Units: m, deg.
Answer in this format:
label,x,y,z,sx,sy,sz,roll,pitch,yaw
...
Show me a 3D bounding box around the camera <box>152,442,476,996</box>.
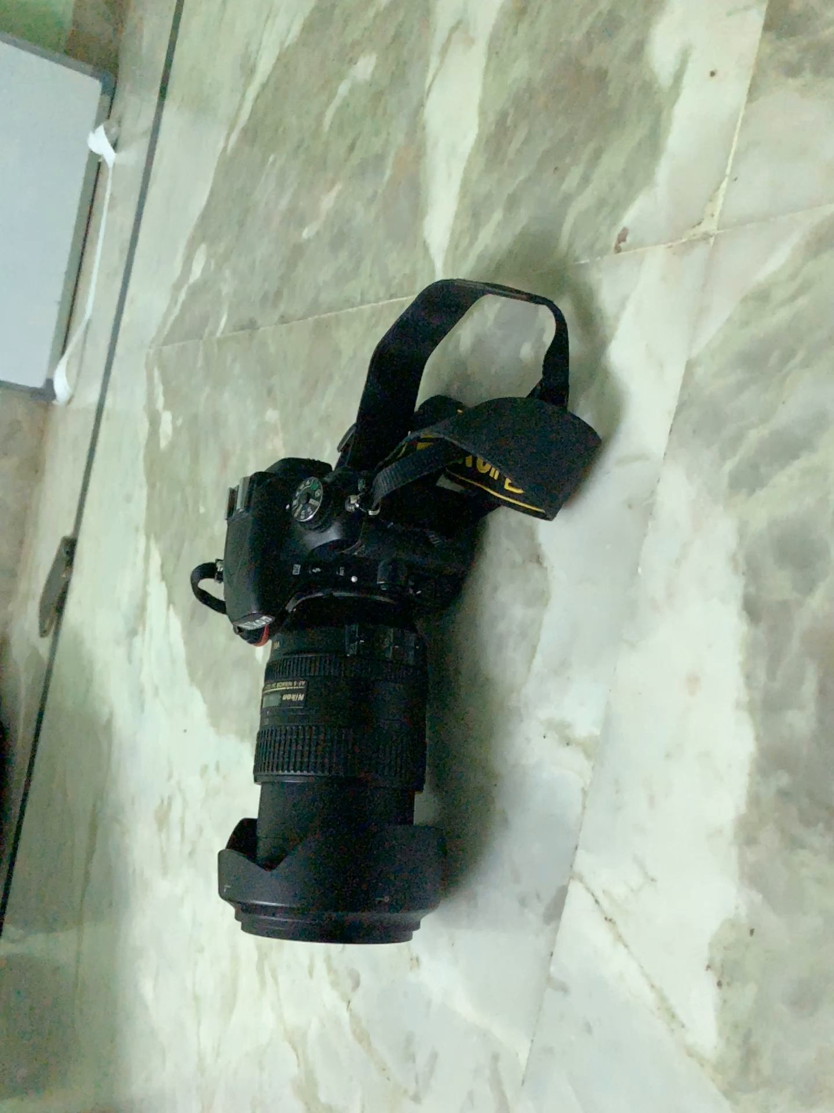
label,x,y,z,sx,sy,sz,roll,pitch,yaw
camera,-0.053,0.076,0.402,0.131,0.089,0.210,-26,60,52
